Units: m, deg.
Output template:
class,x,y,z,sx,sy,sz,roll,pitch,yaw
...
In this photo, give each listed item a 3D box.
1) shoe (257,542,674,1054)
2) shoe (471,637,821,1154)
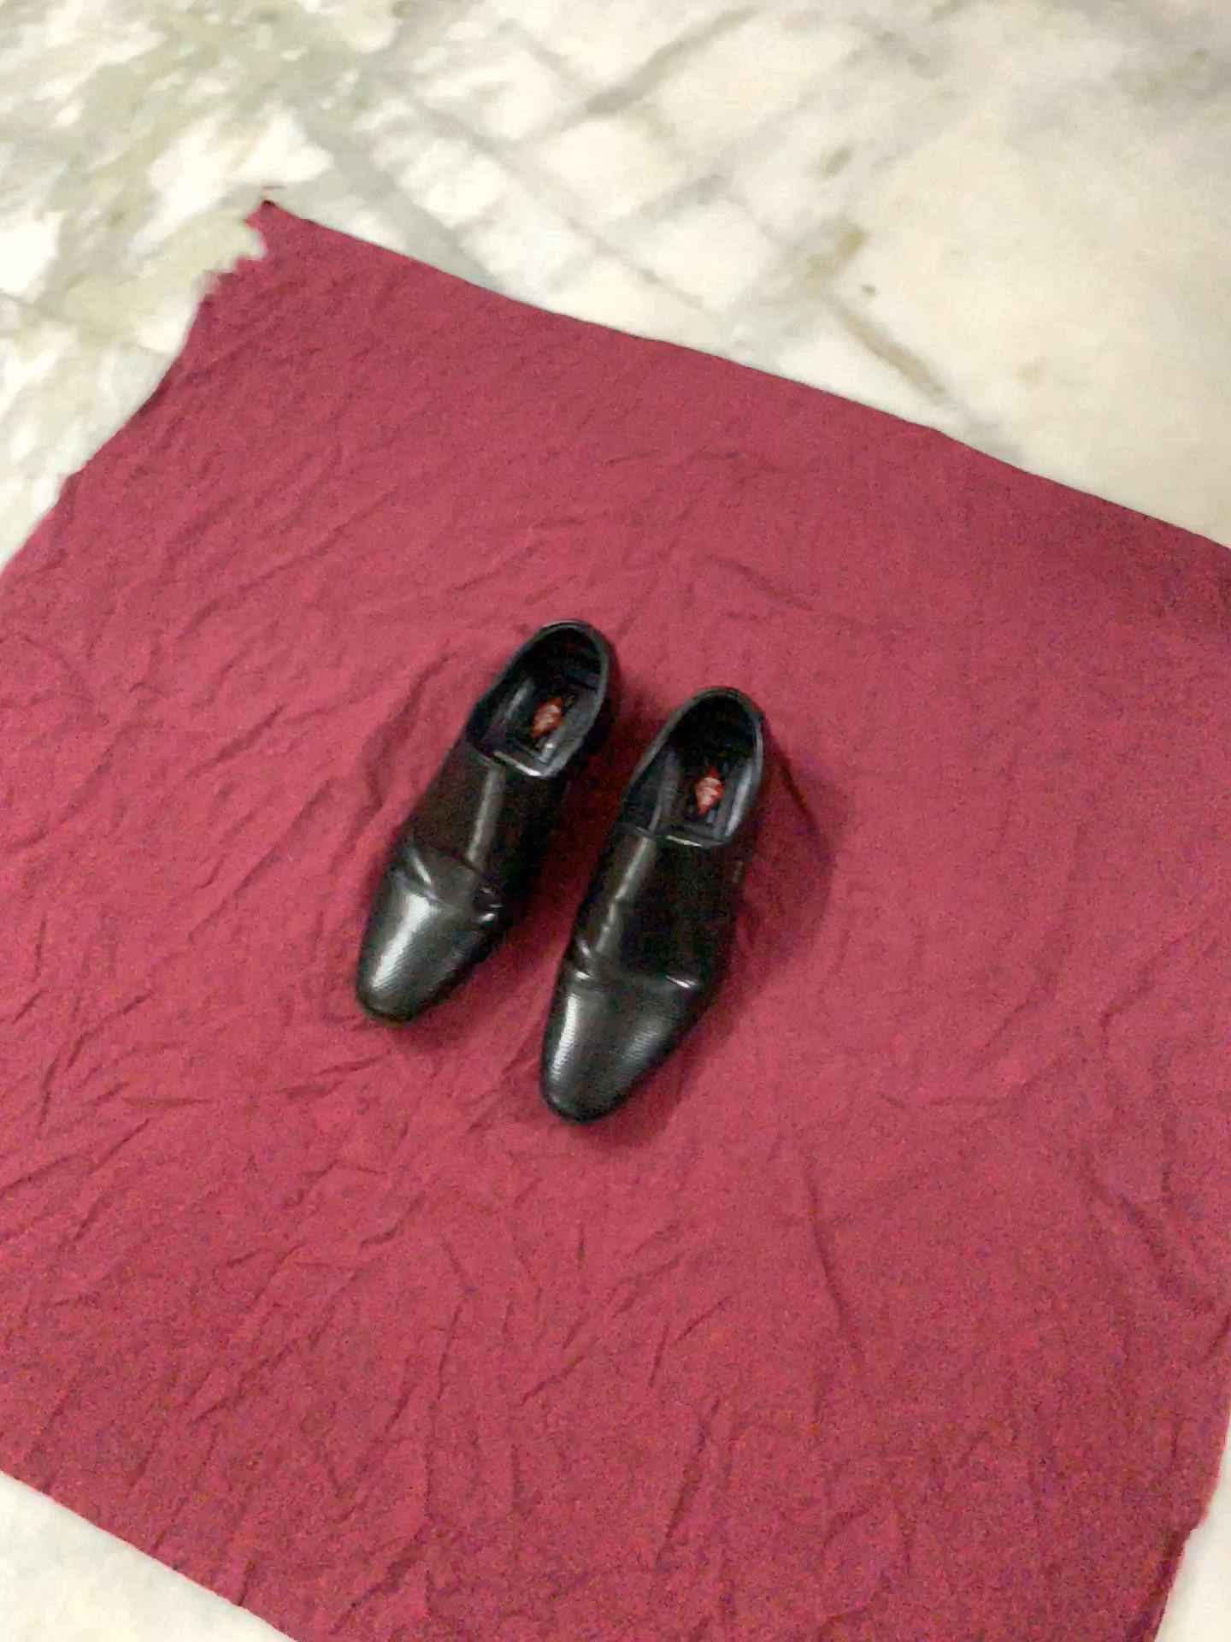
class,x,y,z,sx,sy,sz,roll,pitch,yaw
shoe,-0.082,-0.017,0.797,0.100,0.100,0.301,28,72,13
shoe,0.025,0.044,0.787,0.100,0.100,0.291,21,70,11
